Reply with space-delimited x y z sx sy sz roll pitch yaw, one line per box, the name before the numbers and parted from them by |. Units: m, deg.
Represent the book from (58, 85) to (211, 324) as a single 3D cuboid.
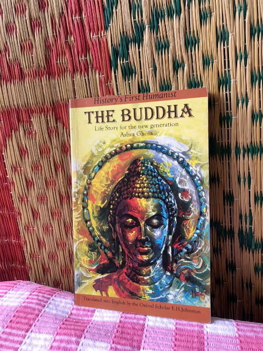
book | 0.002 0.025 0.287 0.146 0.207 0.030 0 1 17
